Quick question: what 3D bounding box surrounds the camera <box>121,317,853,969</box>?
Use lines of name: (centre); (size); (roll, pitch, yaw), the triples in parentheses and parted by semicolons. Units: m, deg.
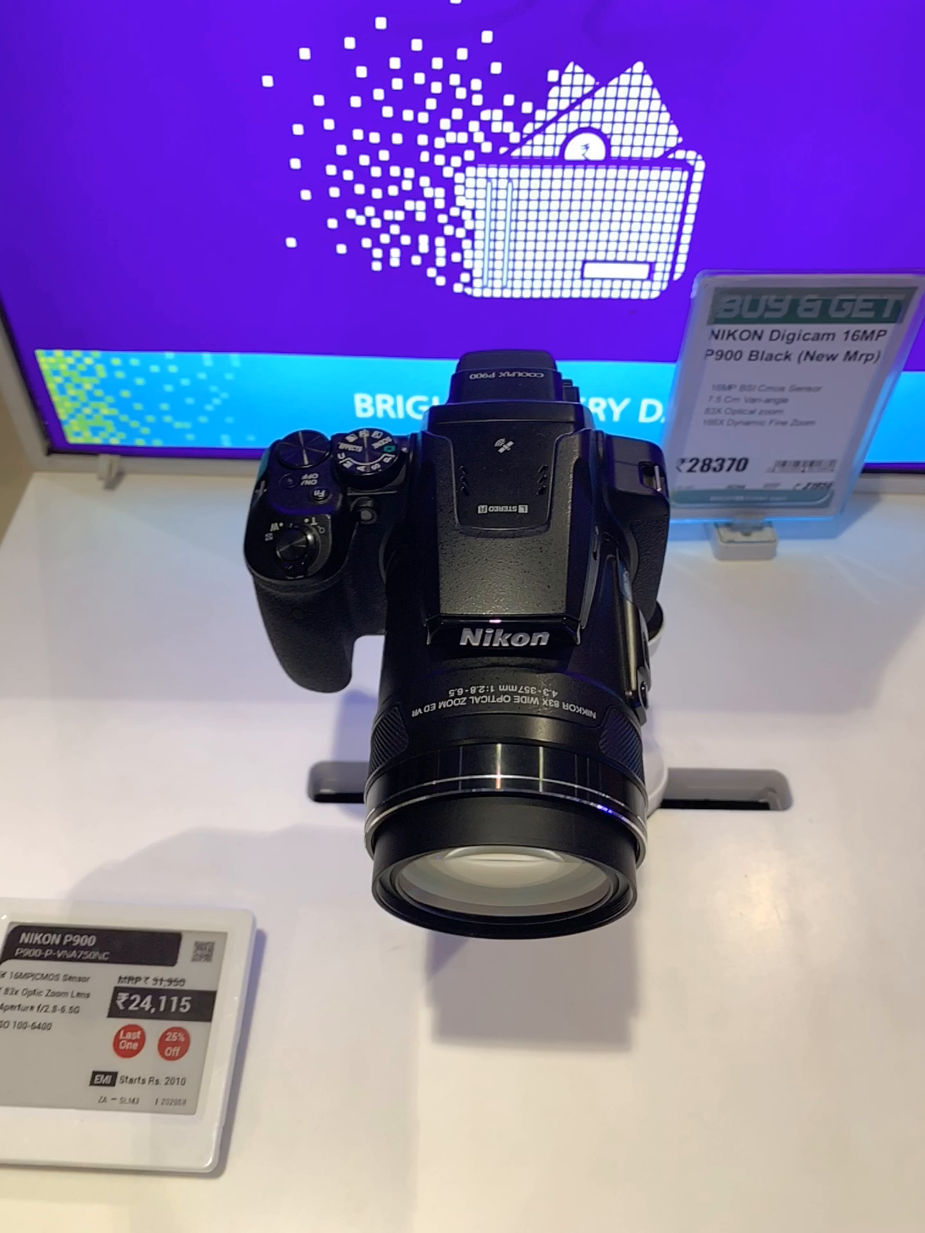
camera: (0.004, 0.001, 0.270); (0.140, 0.090, 0.161); (1, 48, -1)
